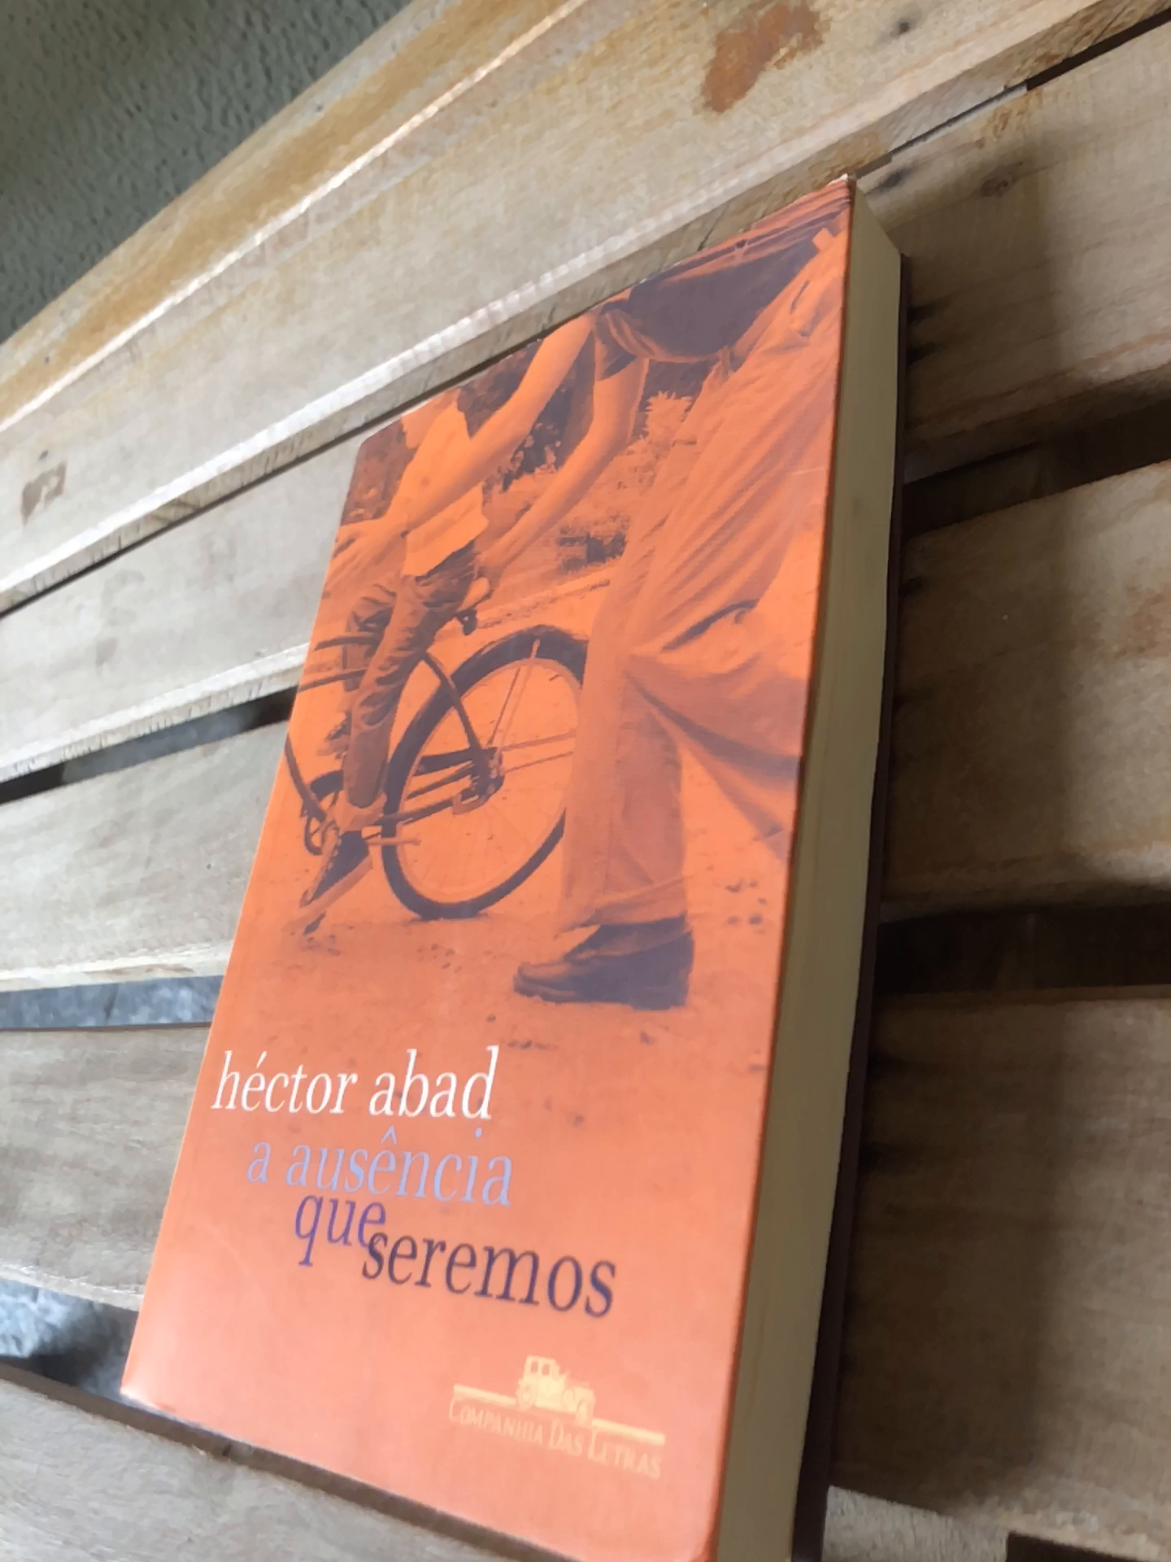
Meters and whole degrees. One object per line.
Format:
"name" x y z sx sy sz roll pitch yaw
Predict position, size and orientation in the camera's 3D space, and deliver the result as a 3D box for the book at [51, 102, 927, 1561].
"book" -0.018 0.003 0.217 0.143 0.020 0.200 -12 60 43
